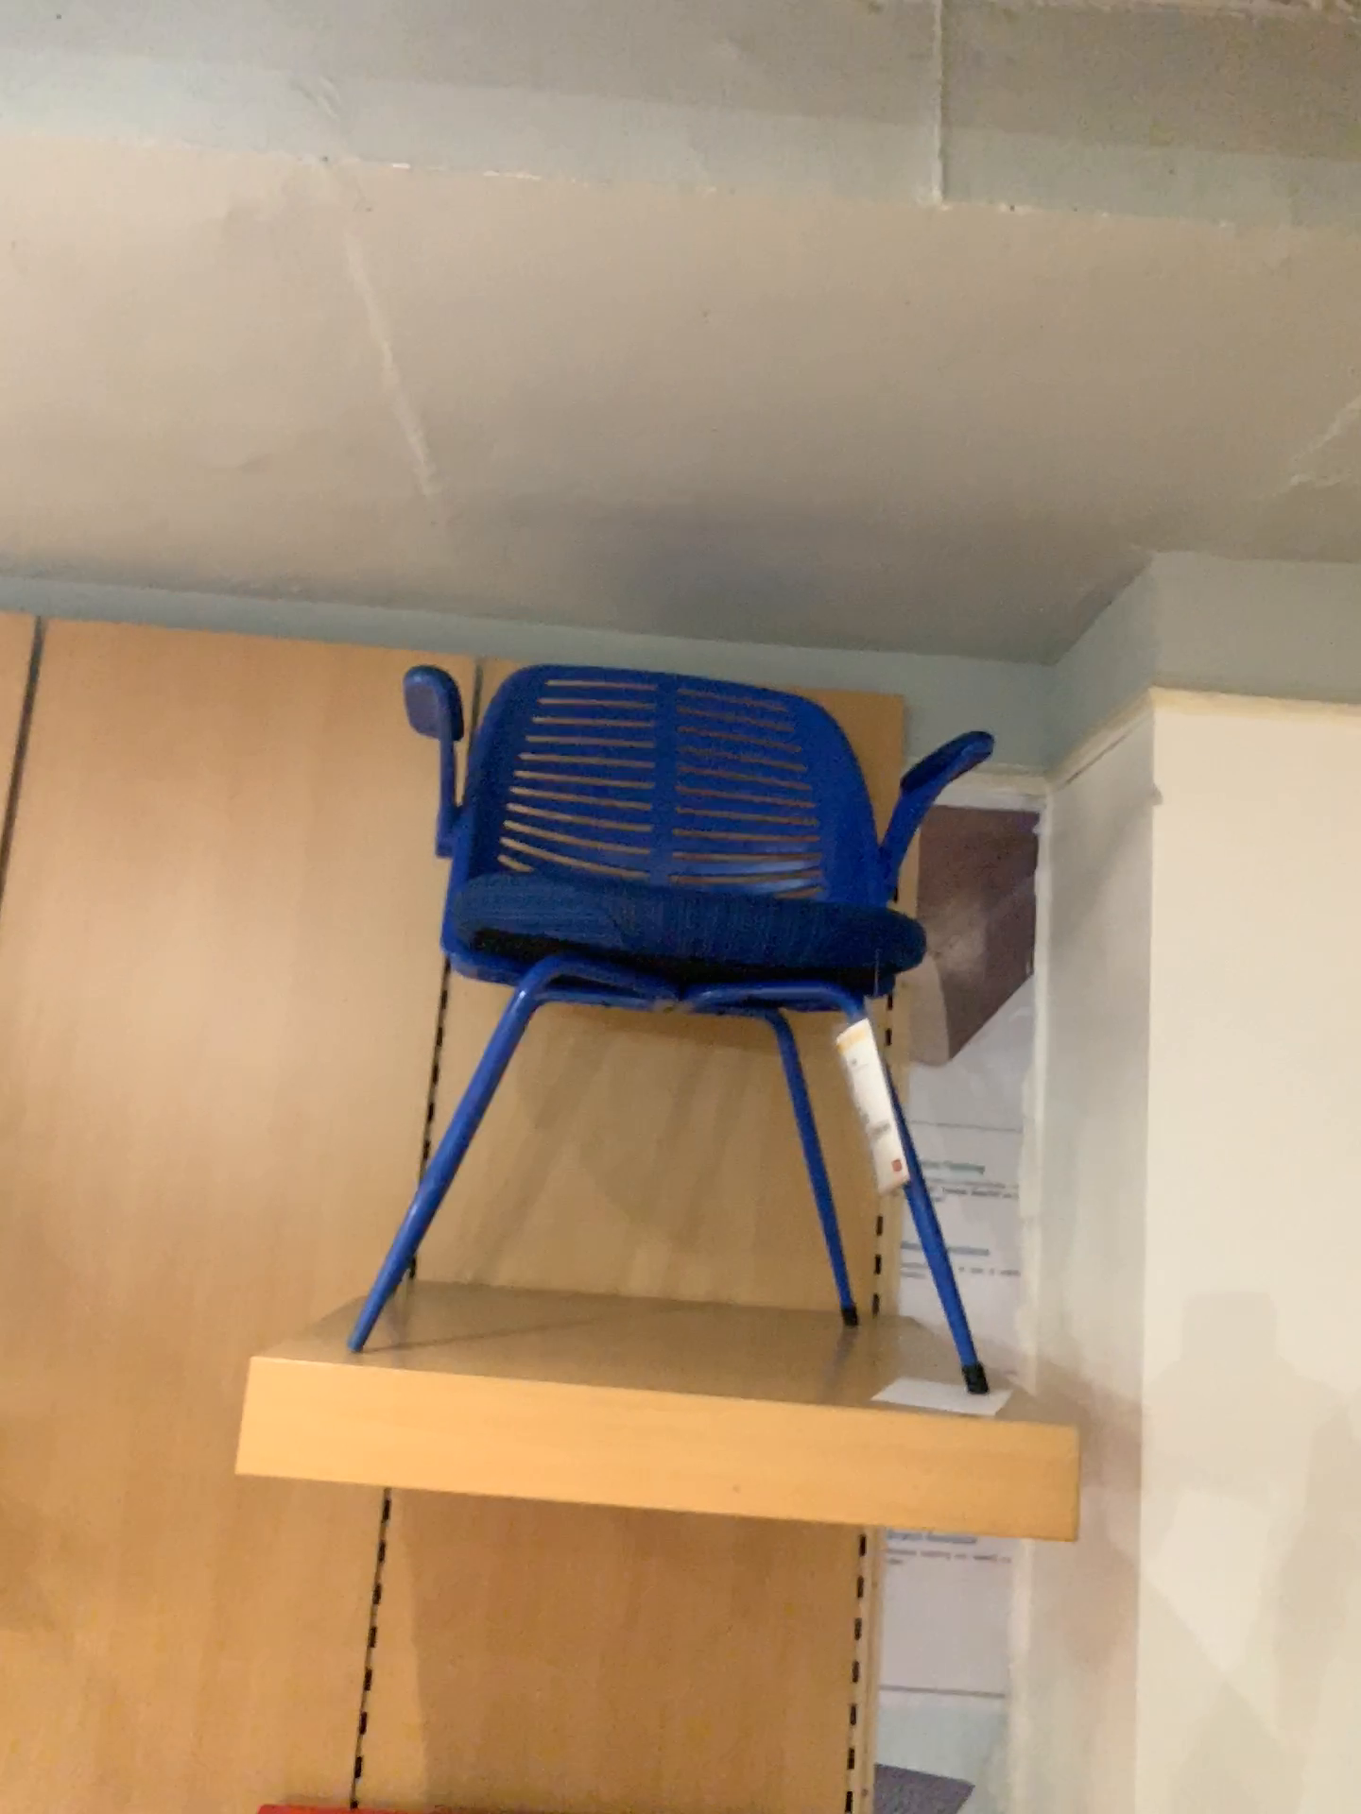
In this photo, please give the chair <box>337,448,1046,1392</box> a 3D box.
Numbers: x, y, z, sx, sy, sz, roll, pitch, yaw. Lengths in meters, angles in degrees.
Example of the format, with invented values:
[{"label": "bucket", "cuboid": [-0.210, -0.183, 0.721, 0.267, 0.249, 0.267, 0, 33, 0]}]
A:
[{"label": "chair", "cuboid": [0.002, 0.040, 1.502, 0.570, 0.792, 0.549, 6, -10, -6]}]
